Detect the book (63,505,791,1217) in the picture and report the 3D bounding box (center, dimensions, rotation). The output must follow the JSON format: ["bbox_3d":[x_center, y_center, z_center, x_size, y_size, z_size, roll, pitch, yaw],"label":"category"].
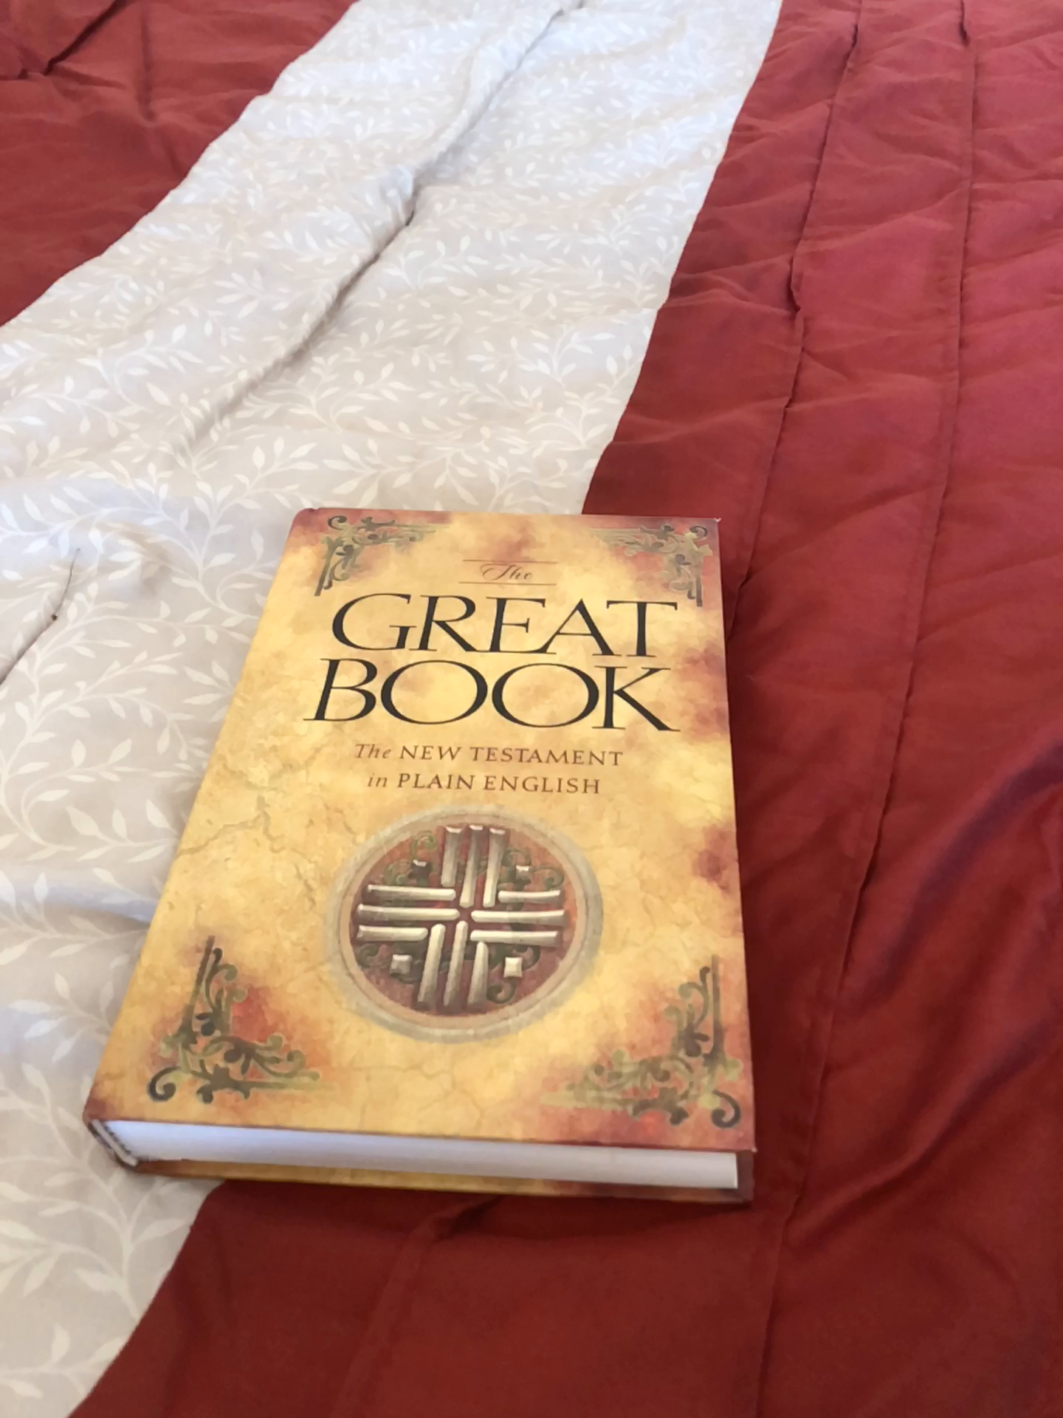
[{"bbox_3d":[-0.016,0.024,0.345,0.161,0.040,0.221,1,47,5],"label":"book"}]
